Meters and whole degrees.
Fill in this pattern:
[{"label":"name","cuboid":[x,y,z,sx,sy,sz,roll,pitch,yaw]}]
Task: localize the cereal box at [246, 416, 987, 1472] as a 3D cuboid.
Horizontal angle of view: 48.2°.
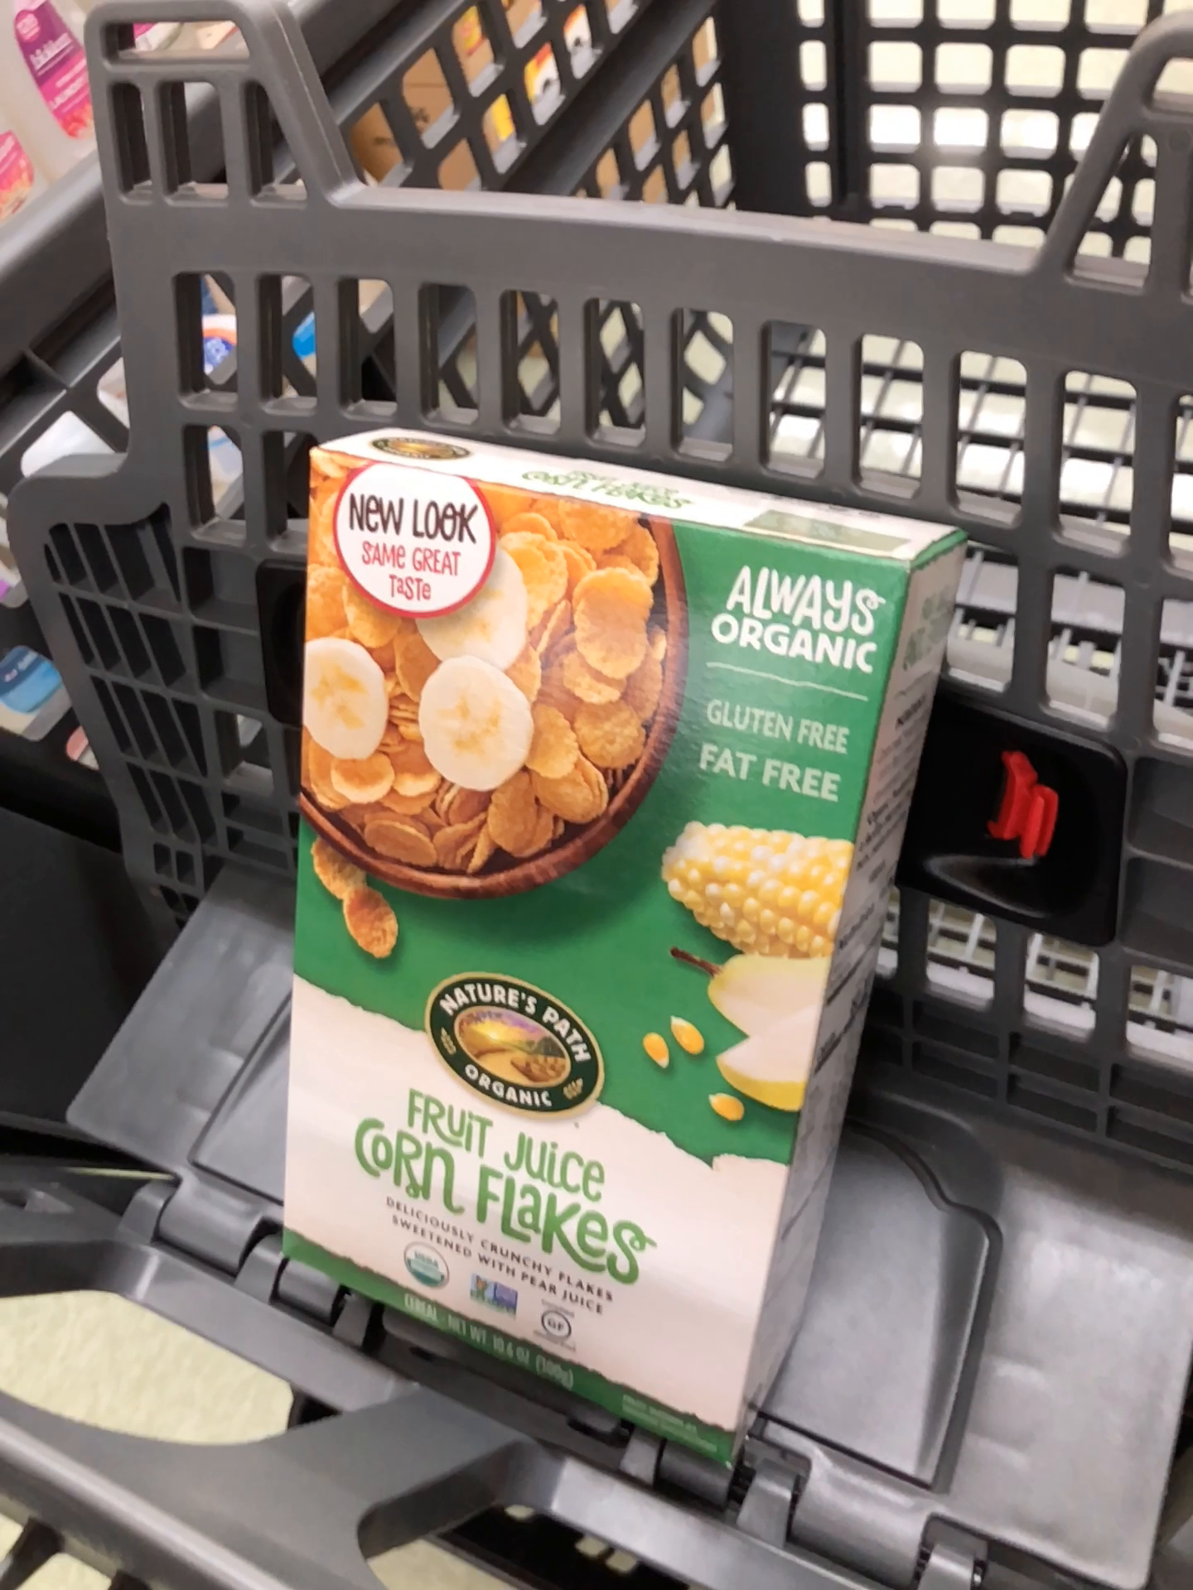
[{"label":"cereal box","cuboid":[-0.005,0.032,0.346,0.150,0.230,0.070,16,22,22]}]
